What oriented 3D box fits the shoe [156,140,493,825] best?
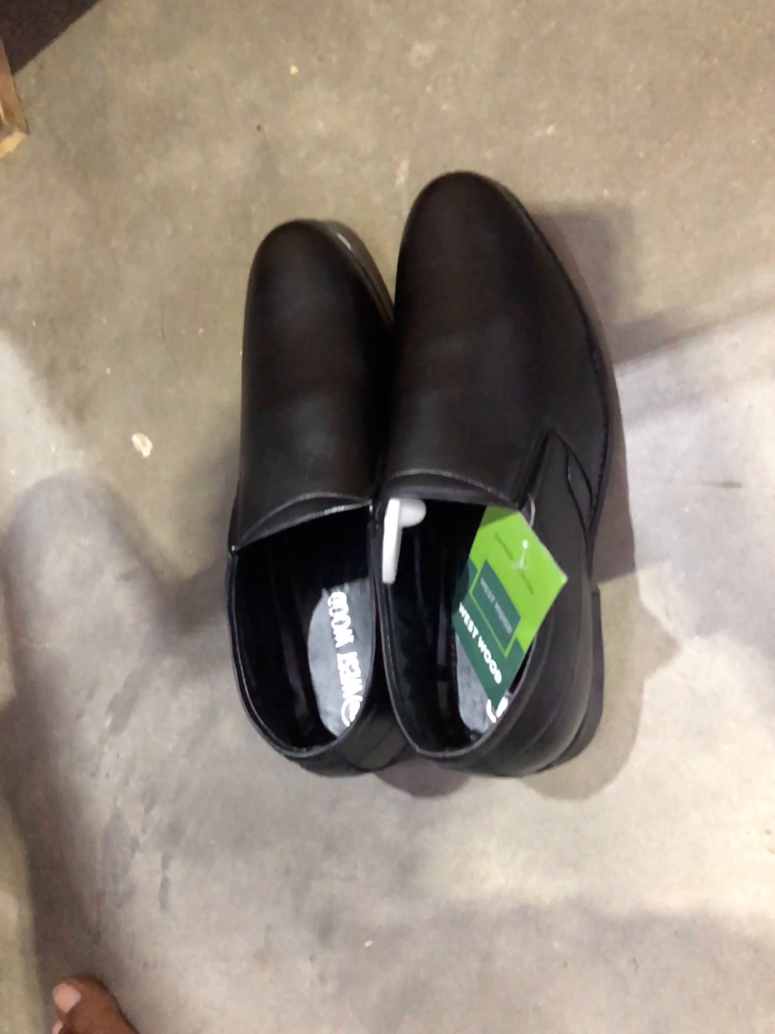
[{"bbox_3d":[-0.031,-0.012,0.432,0.100,0.100,0.300,-10,83,25],"label":"shoe"}]

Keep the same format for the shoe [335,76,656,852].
[{"bbox_3d":[0.051,-0.019,0.388,0.100,0.090,0.300,-6,85,26],"label":"shoe"}]
